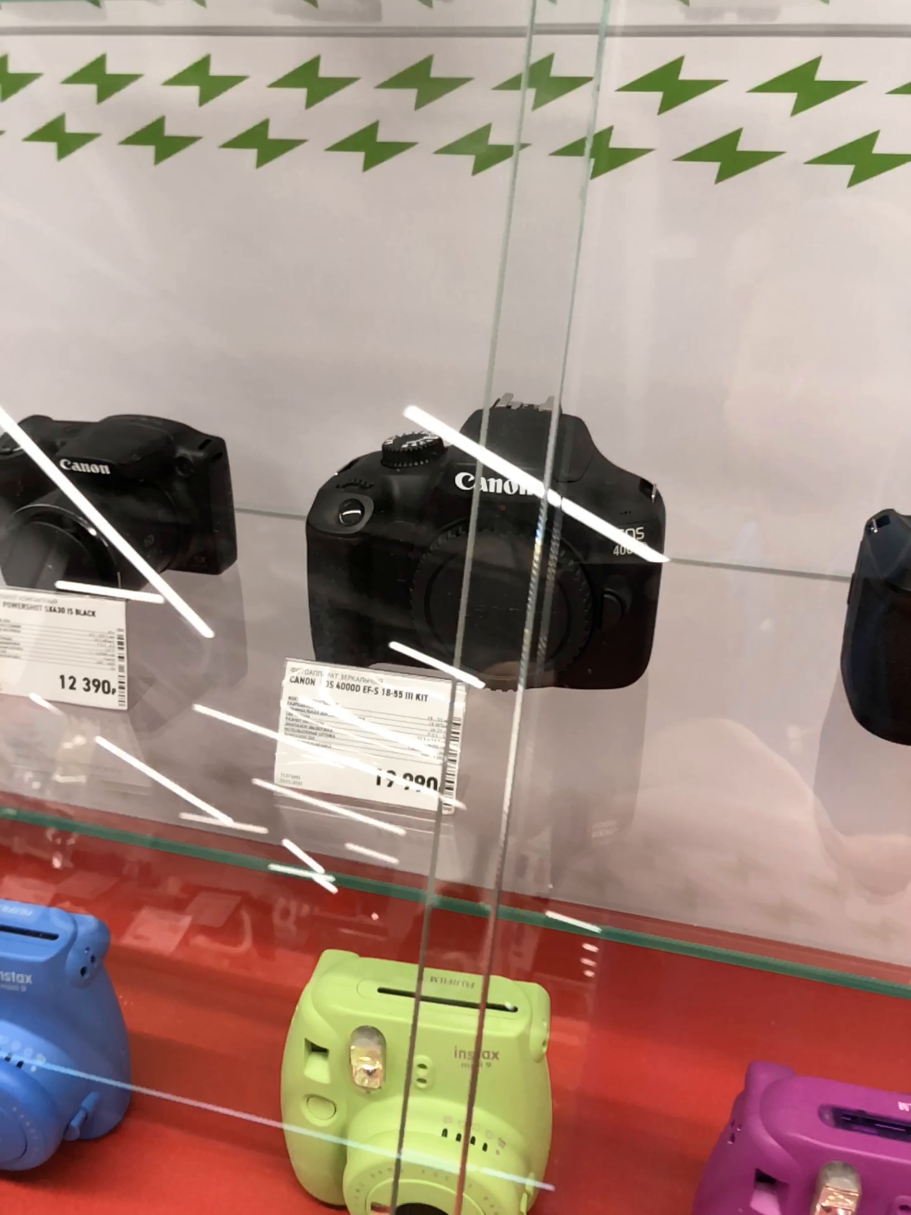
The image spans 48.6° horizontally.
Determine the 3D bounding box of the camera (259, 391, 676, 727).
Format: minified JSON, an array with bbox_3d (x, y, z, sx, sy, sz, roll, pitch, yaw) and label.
[{"bbox_3d":[0.010,-0.025,0.389,0.135,0.083,0.100,6,28,11],"label":"camera"}]
